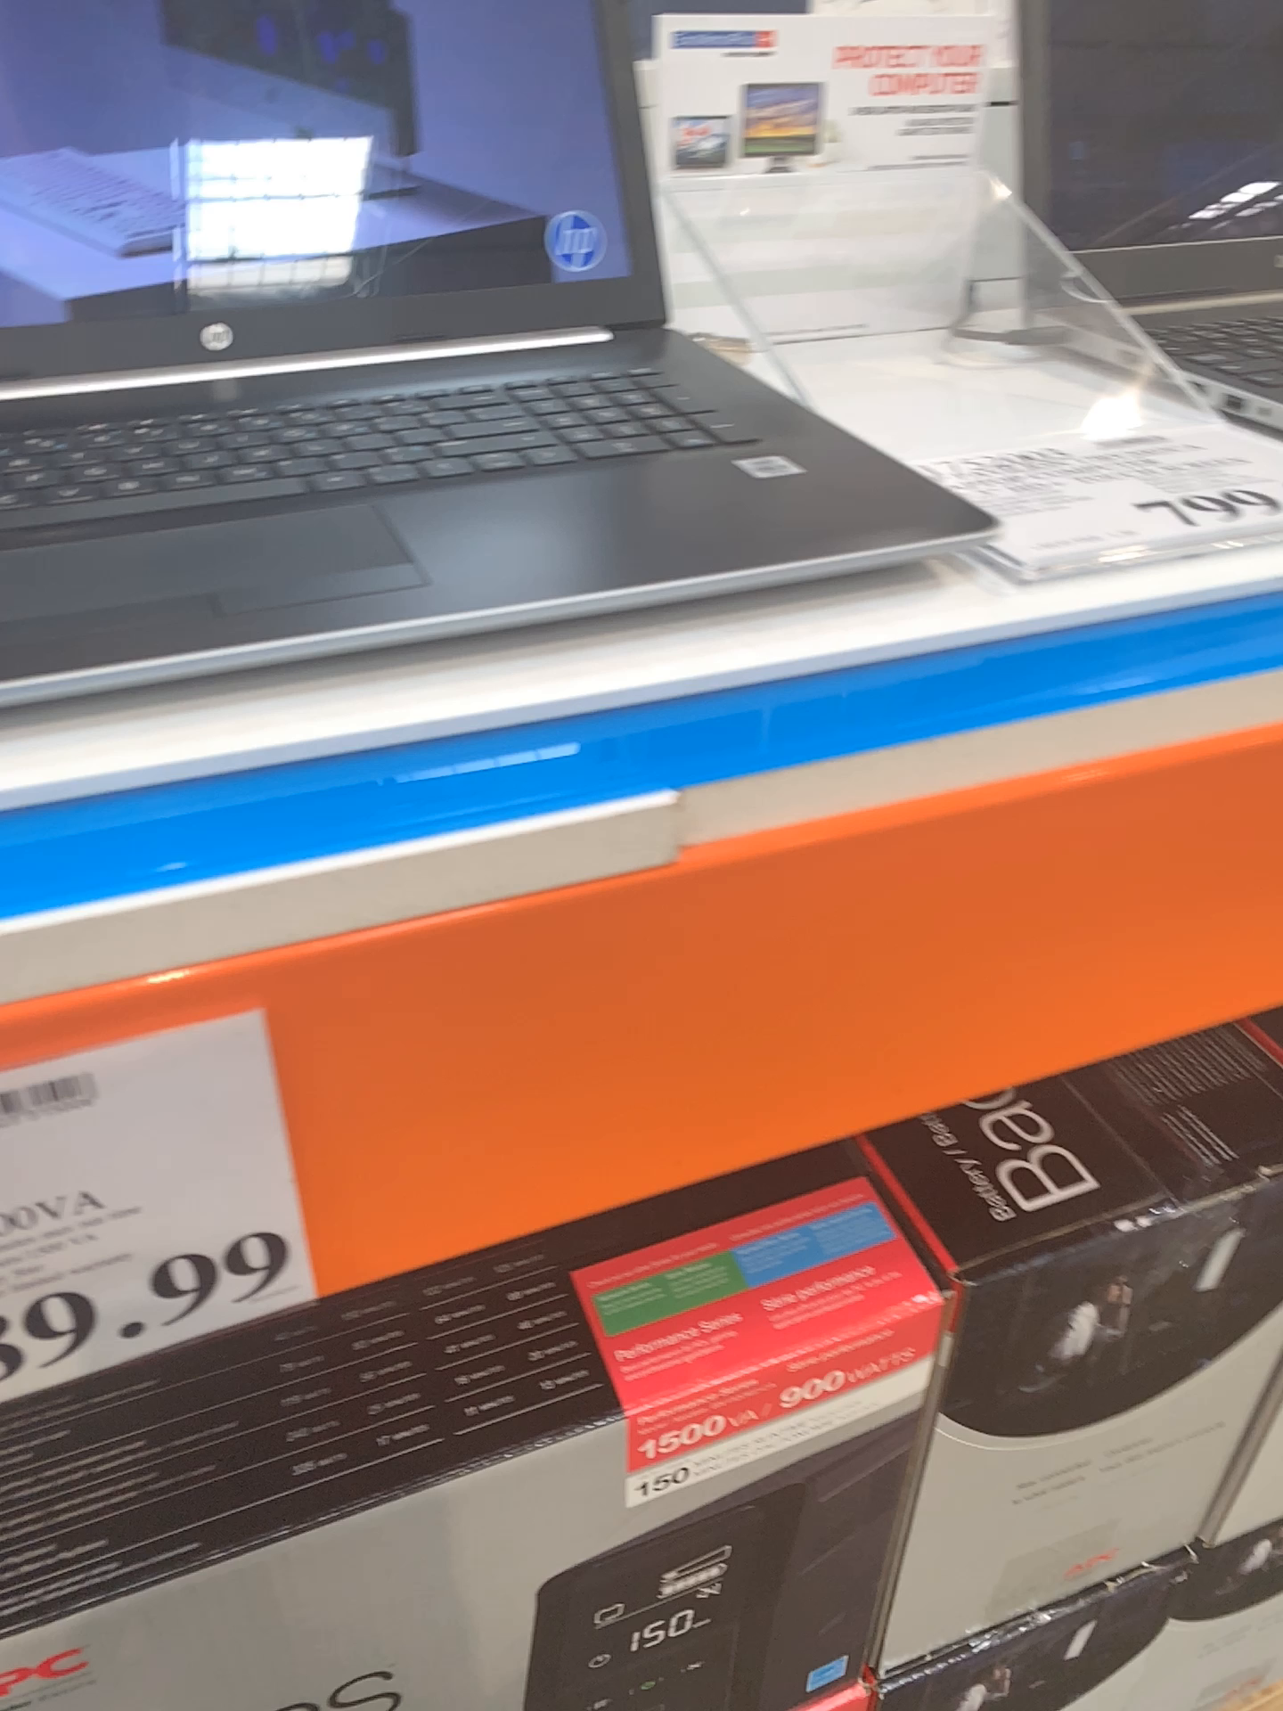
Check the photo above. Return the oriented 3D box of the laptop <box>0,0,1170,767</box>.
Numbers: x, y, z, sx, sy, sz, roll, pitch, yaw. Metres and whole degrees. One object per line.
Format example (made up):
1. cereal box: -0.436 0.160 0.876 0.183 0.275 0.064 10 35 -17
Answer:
1. laptop: -0.144 -0.254 0.419 0.395 0.234 0.371 -13 36 -19
